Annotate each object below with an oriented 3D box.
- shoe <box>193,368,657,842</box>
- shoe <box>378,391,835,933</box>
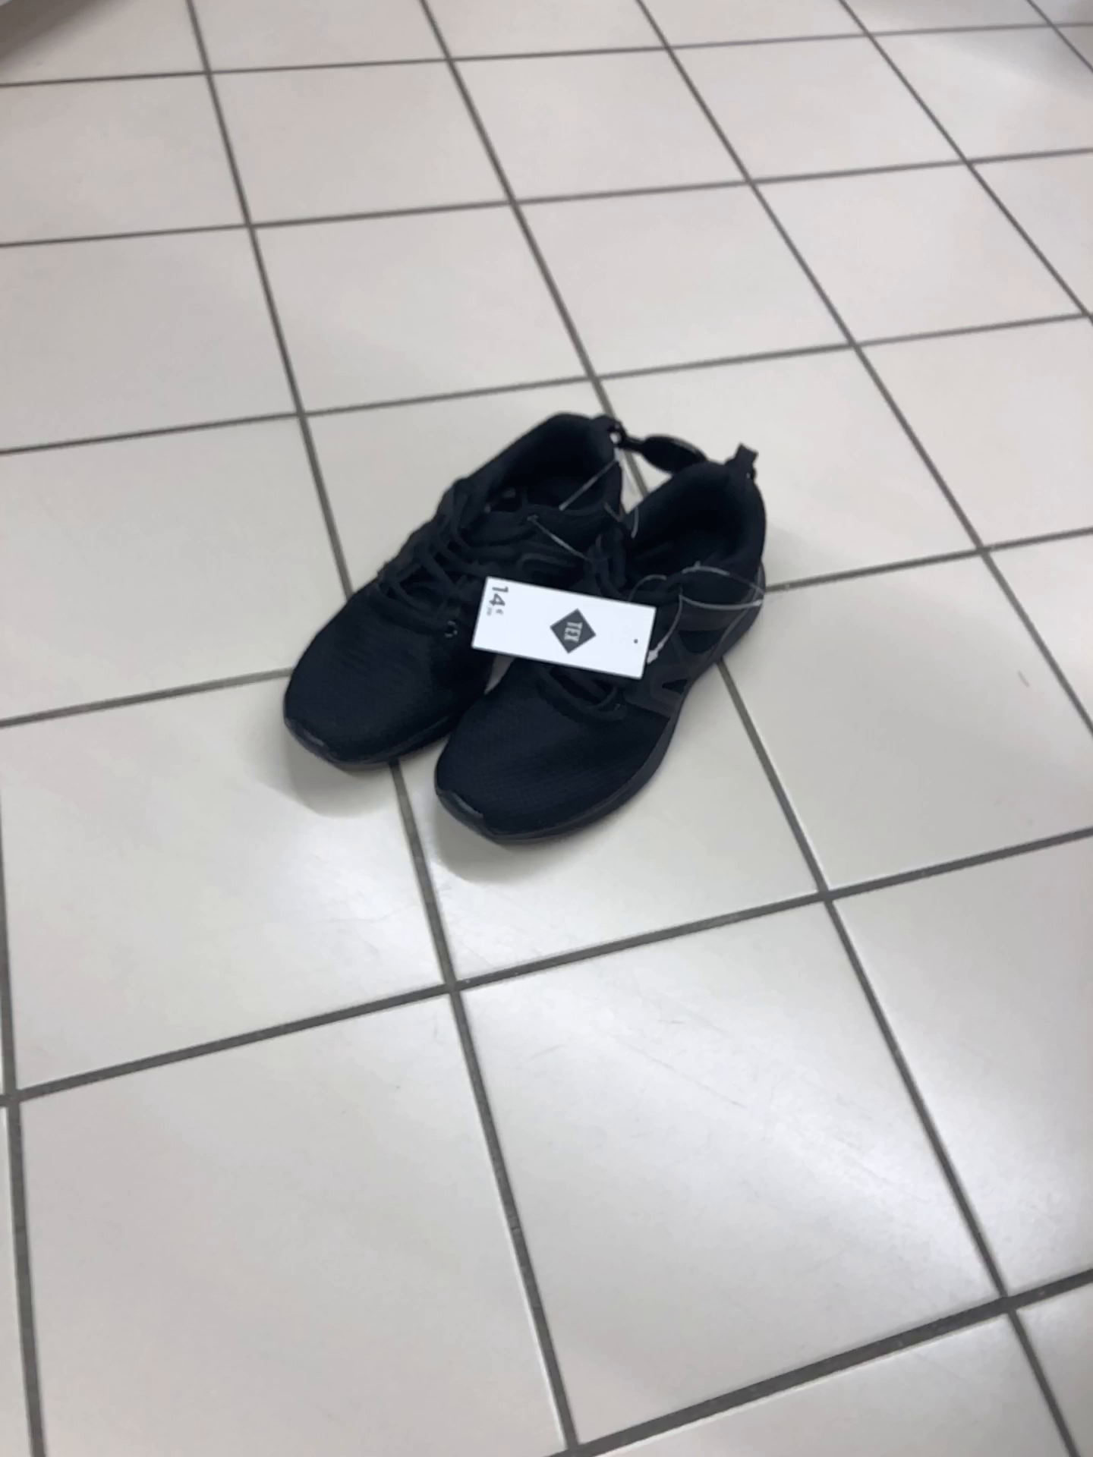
[{"bbox_3d":[-0.060,-0.075,0.678,0.100,0.109,0.251,36,60,16],"label":"shoe"},{"bbox_3d":[0.035,-0.043,0.653,0.100,0.119,0.271,32,59,14],"label":"shoe"}]
